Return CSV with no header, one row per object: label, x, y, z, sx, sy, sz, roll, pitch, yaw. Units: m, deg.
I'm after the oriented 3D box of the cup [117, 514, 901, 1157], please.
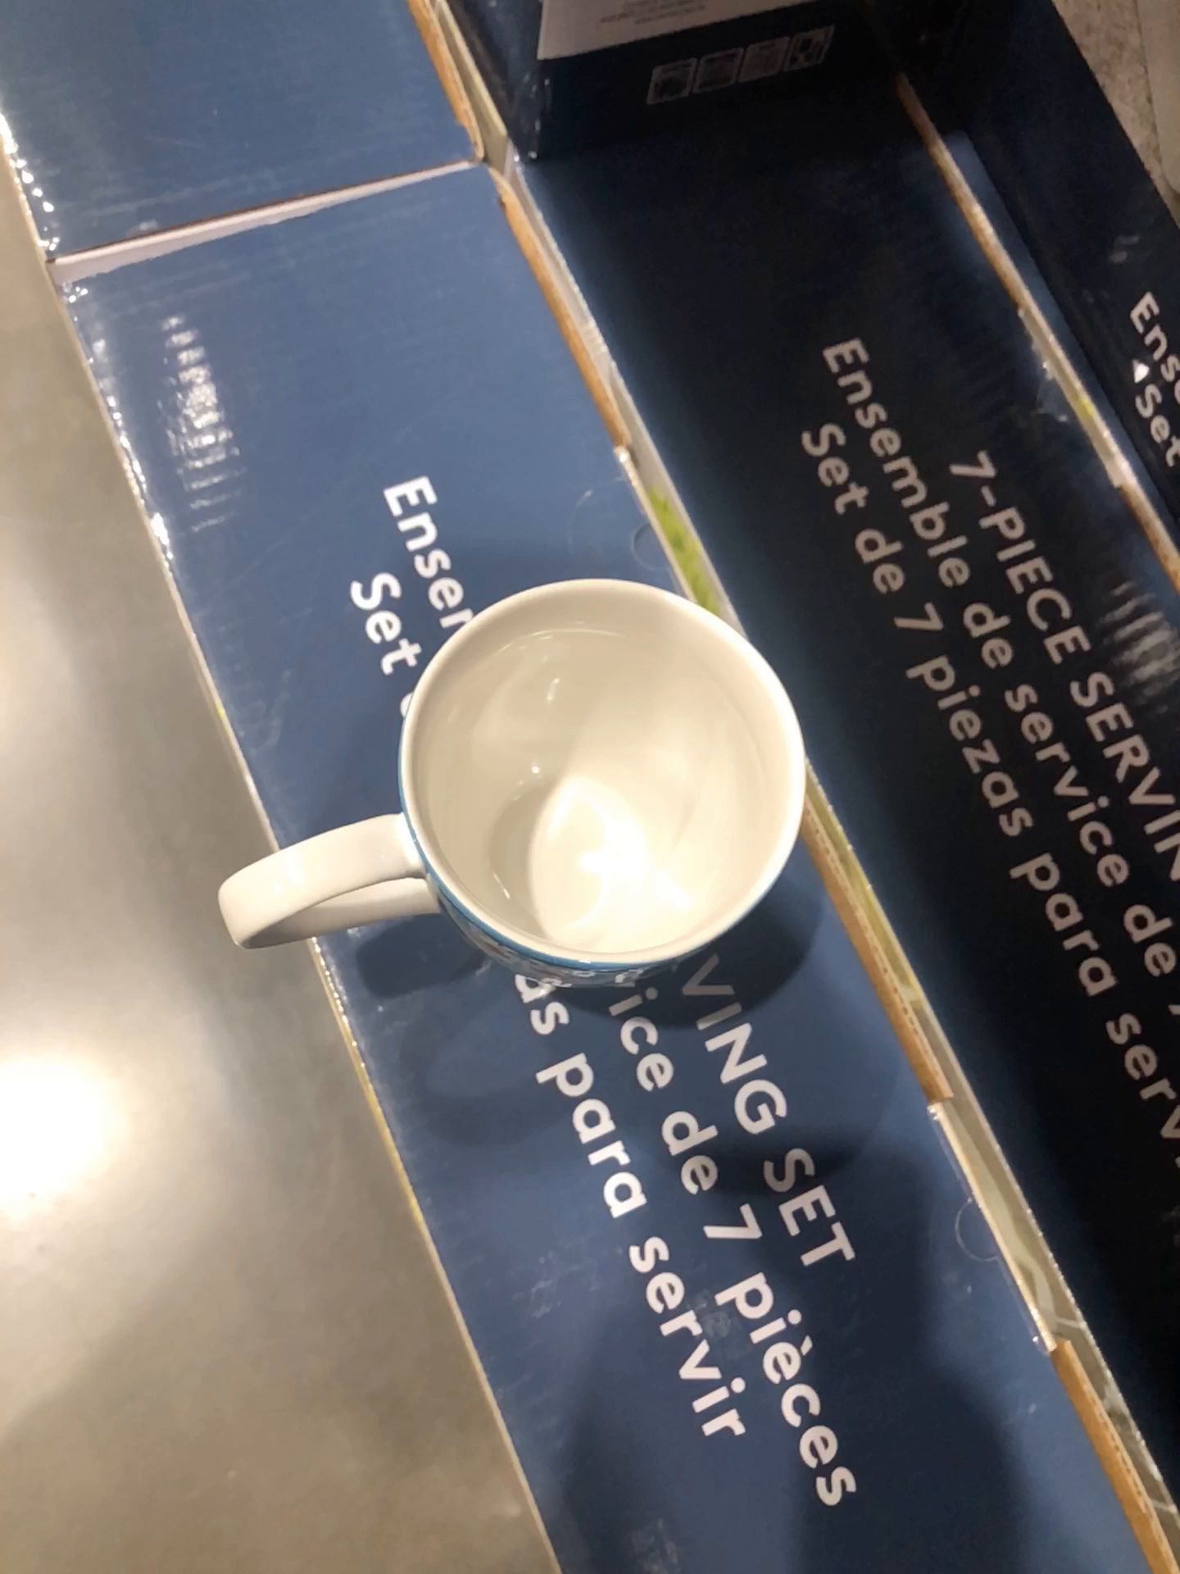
cup,-0.021,0.017,0.314,0.136,0.096,0.089,-22,78,-14
